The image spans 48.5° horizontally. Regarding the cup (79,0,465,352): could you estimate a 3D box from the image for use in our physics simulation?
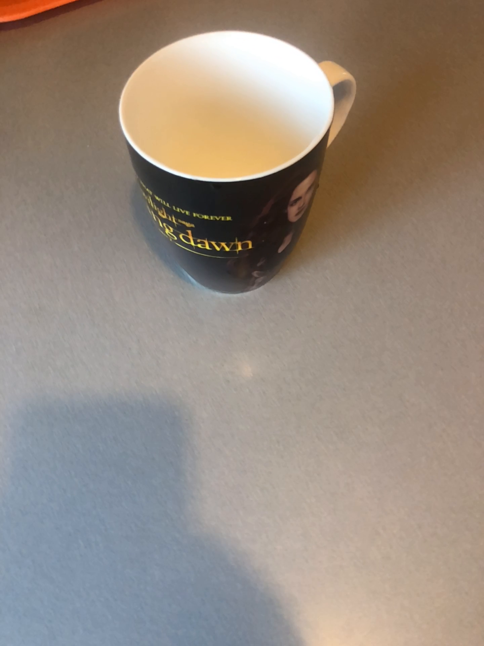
[{"bbox_3d":[0.014,-0.076,0.263,0.130,0.100,0.090,-38,68,-16],"label":"cup"}]
